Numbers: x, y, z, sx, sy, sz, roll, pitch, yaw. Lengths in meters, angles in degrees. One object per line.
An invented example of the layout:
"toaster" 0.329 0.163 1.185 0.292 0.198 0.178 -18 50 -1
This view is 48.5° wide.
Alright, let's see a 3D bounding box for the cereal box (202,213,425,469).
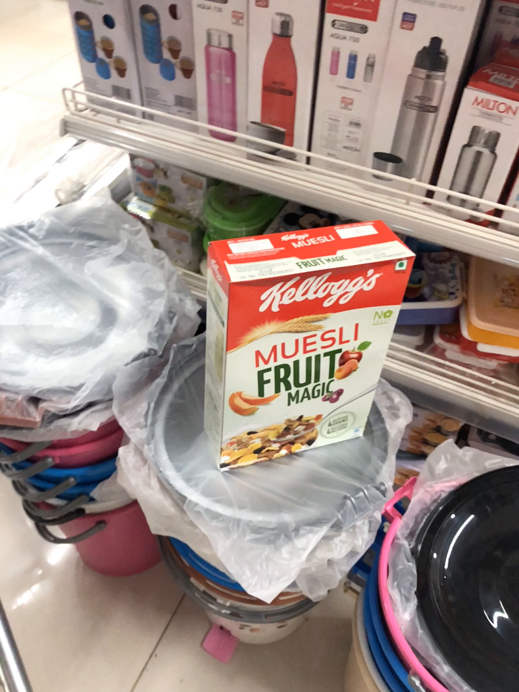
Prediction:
"cereal box" 0.041 0.001 0.599 0.190 0.249 0.070 -10 42 -17
